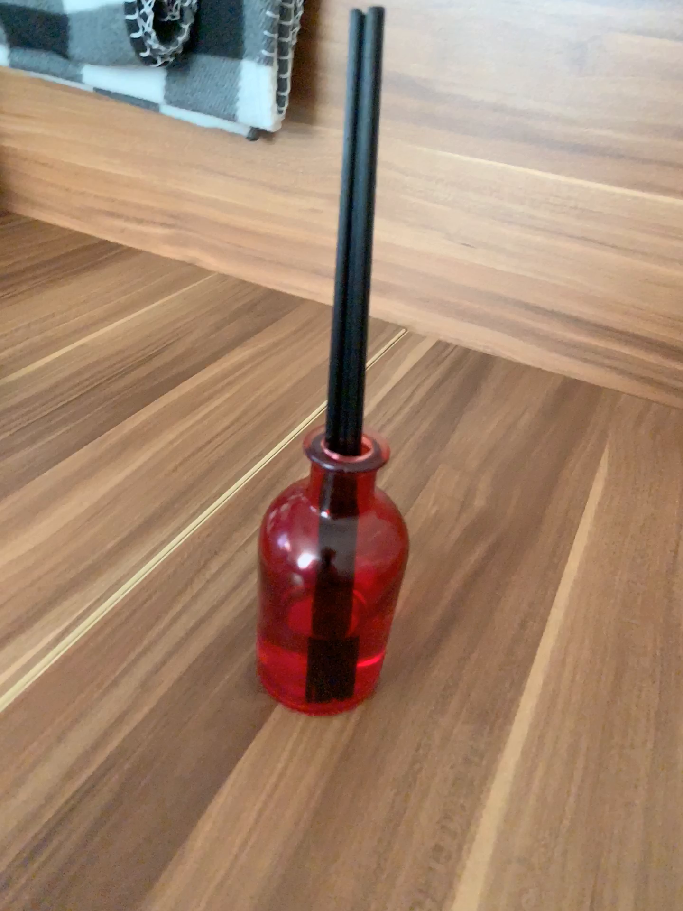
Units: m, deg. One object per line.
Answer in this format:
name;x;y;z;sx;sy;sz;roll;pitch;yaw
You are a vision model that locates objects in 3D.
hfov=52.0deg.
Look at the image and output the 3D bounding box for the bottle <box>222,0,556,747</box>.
bottle;0.001;-0.009;0.228;0.060;0.239;0.050;23;38;22
